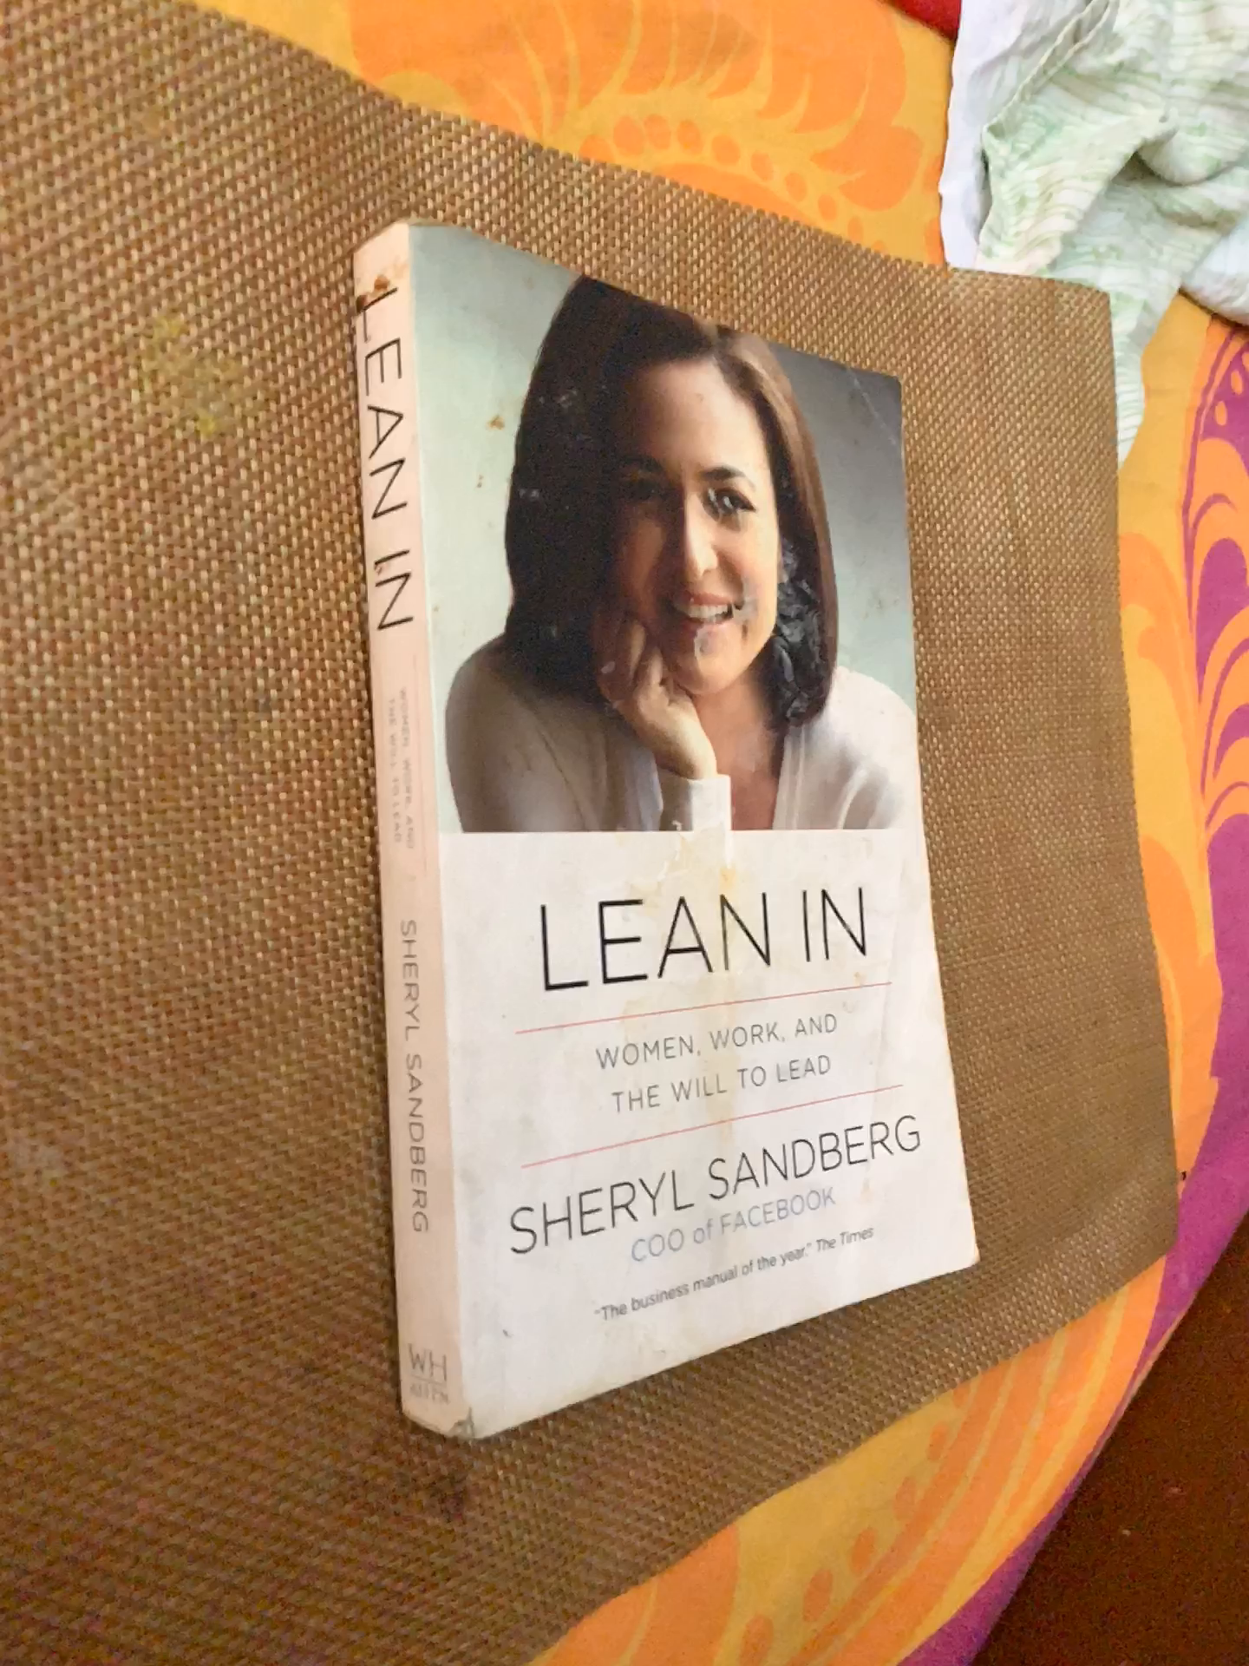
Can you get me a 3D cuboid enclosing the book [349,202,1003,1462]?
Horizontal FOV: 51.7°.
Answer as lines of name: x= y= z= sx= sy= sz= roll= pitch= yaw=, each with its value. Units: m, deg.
book: x=0.017 y=-0.003 z=0.270 sx=0.141 sy=0.026 sz=0.212 roll=0 pitch=83 yaw=-39
